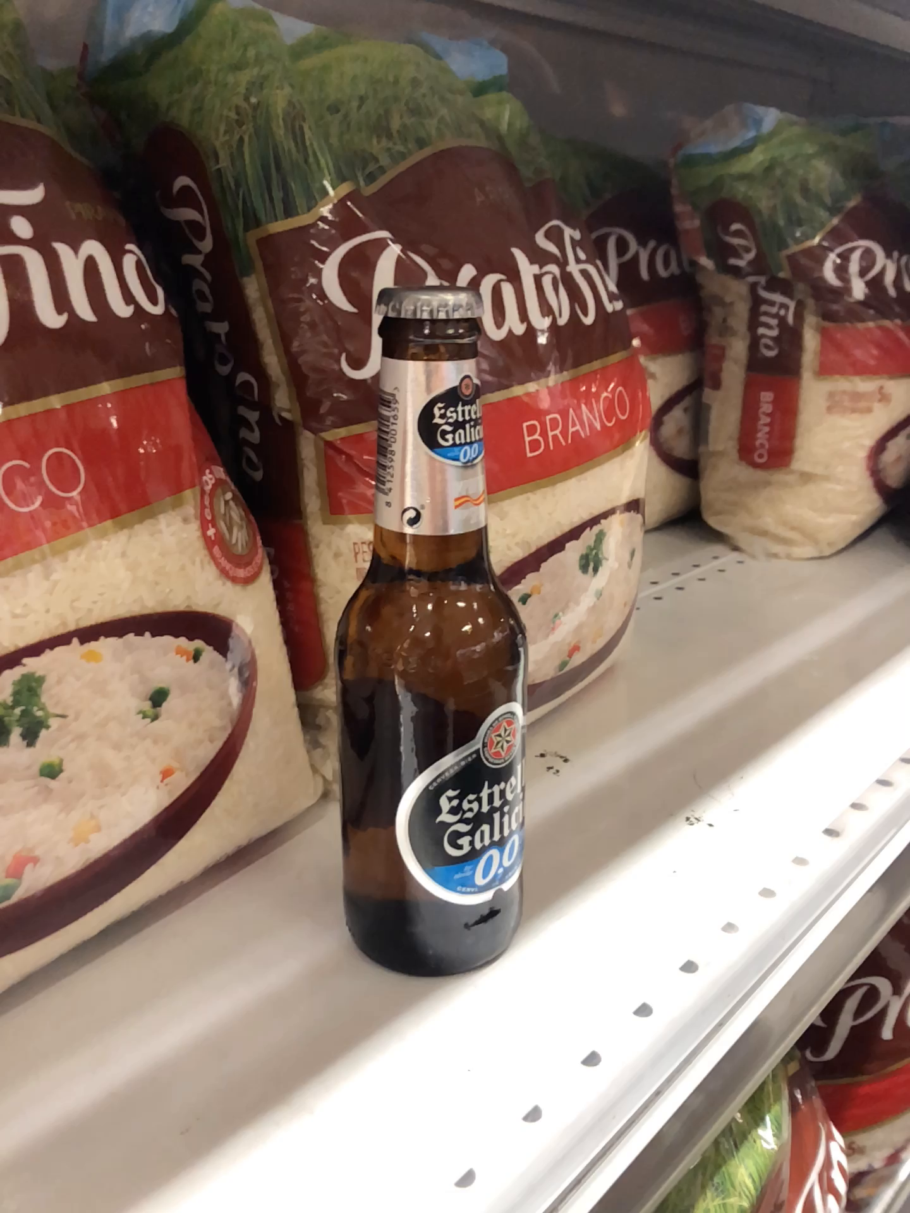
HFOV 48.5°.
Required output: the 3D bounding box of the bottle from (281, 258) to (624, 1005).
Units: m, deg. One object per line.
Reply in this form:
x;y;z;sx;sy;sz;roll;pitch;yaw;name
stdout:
-0.003;0.004;0.281;0.060;0.189;0.060;1;20;0;bottle
